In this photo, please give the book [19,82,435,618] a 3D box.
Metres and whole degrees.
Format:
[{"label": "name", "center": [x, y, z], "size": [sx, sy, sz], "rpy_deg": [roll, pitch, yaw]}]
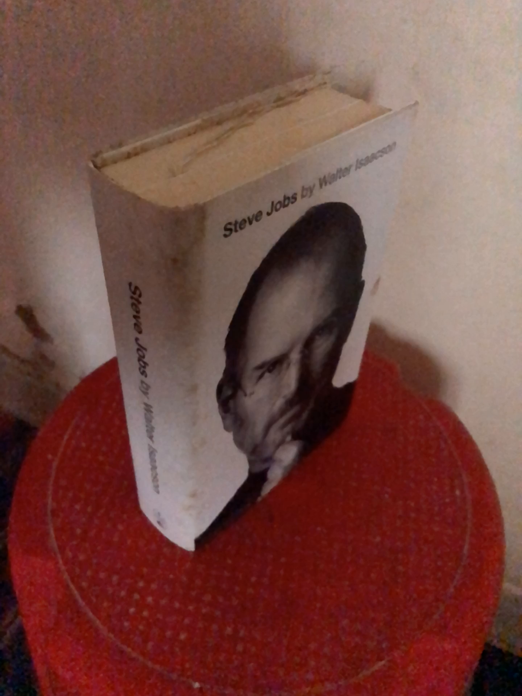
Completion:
[{"label": "book", "center": [-0.006, 0.007, 0.305], "size": [0.060, 0.229, 0.171], "rpy_deg": [33, 49, 28]}]
